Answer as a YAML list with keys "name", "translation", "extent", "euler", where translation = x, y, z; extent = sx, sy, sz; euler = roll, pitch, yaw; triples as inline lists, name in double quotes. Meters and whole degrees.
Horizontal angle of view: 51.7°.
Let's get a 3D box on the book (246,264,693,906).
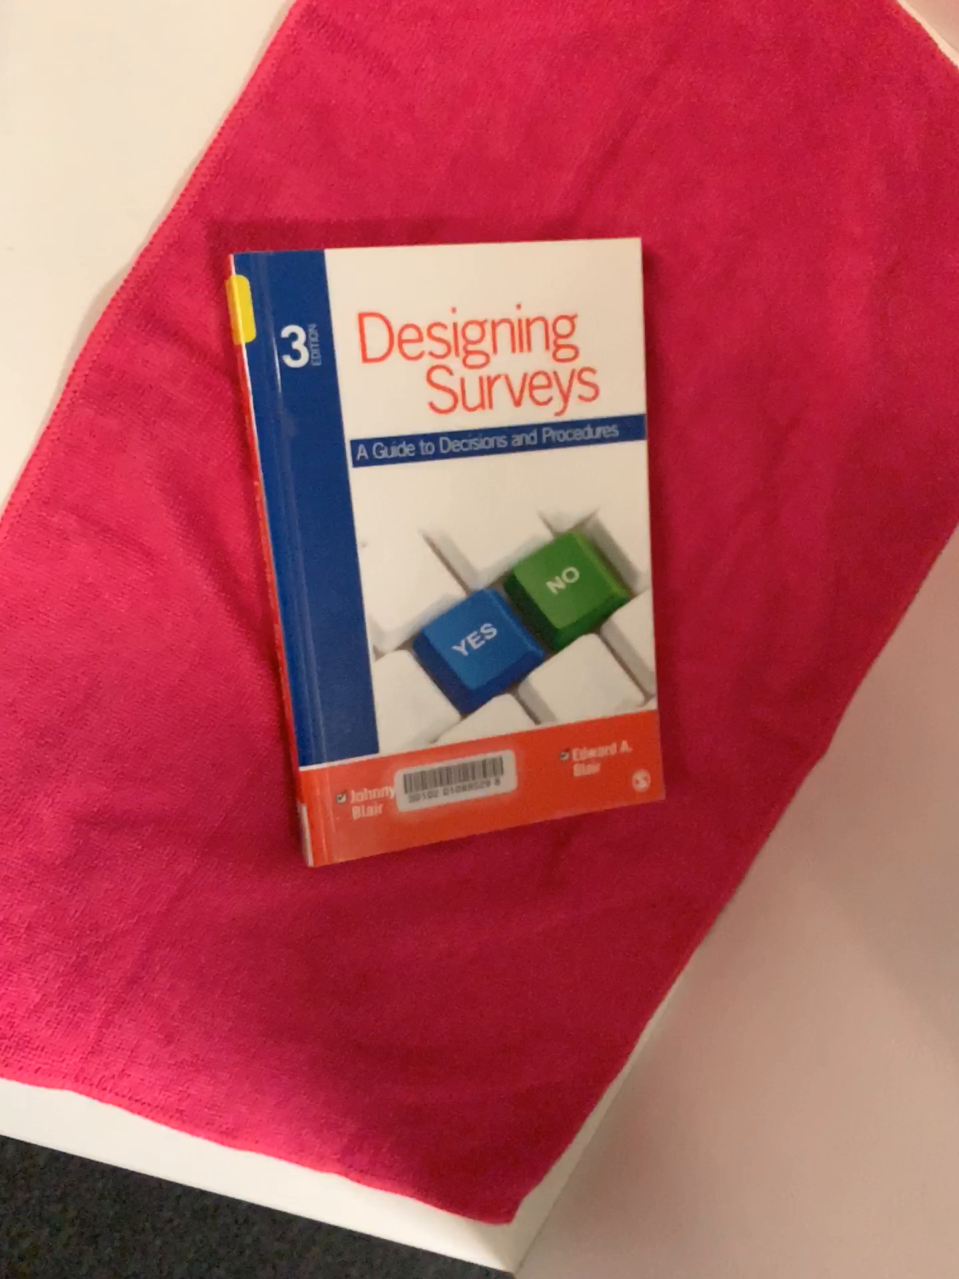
- name: "book"
  translation: [0.005, -0.022, 0.391]
  extent: [0.160, 0.026, 0.230]
  euler: [-8, 105, -17]
